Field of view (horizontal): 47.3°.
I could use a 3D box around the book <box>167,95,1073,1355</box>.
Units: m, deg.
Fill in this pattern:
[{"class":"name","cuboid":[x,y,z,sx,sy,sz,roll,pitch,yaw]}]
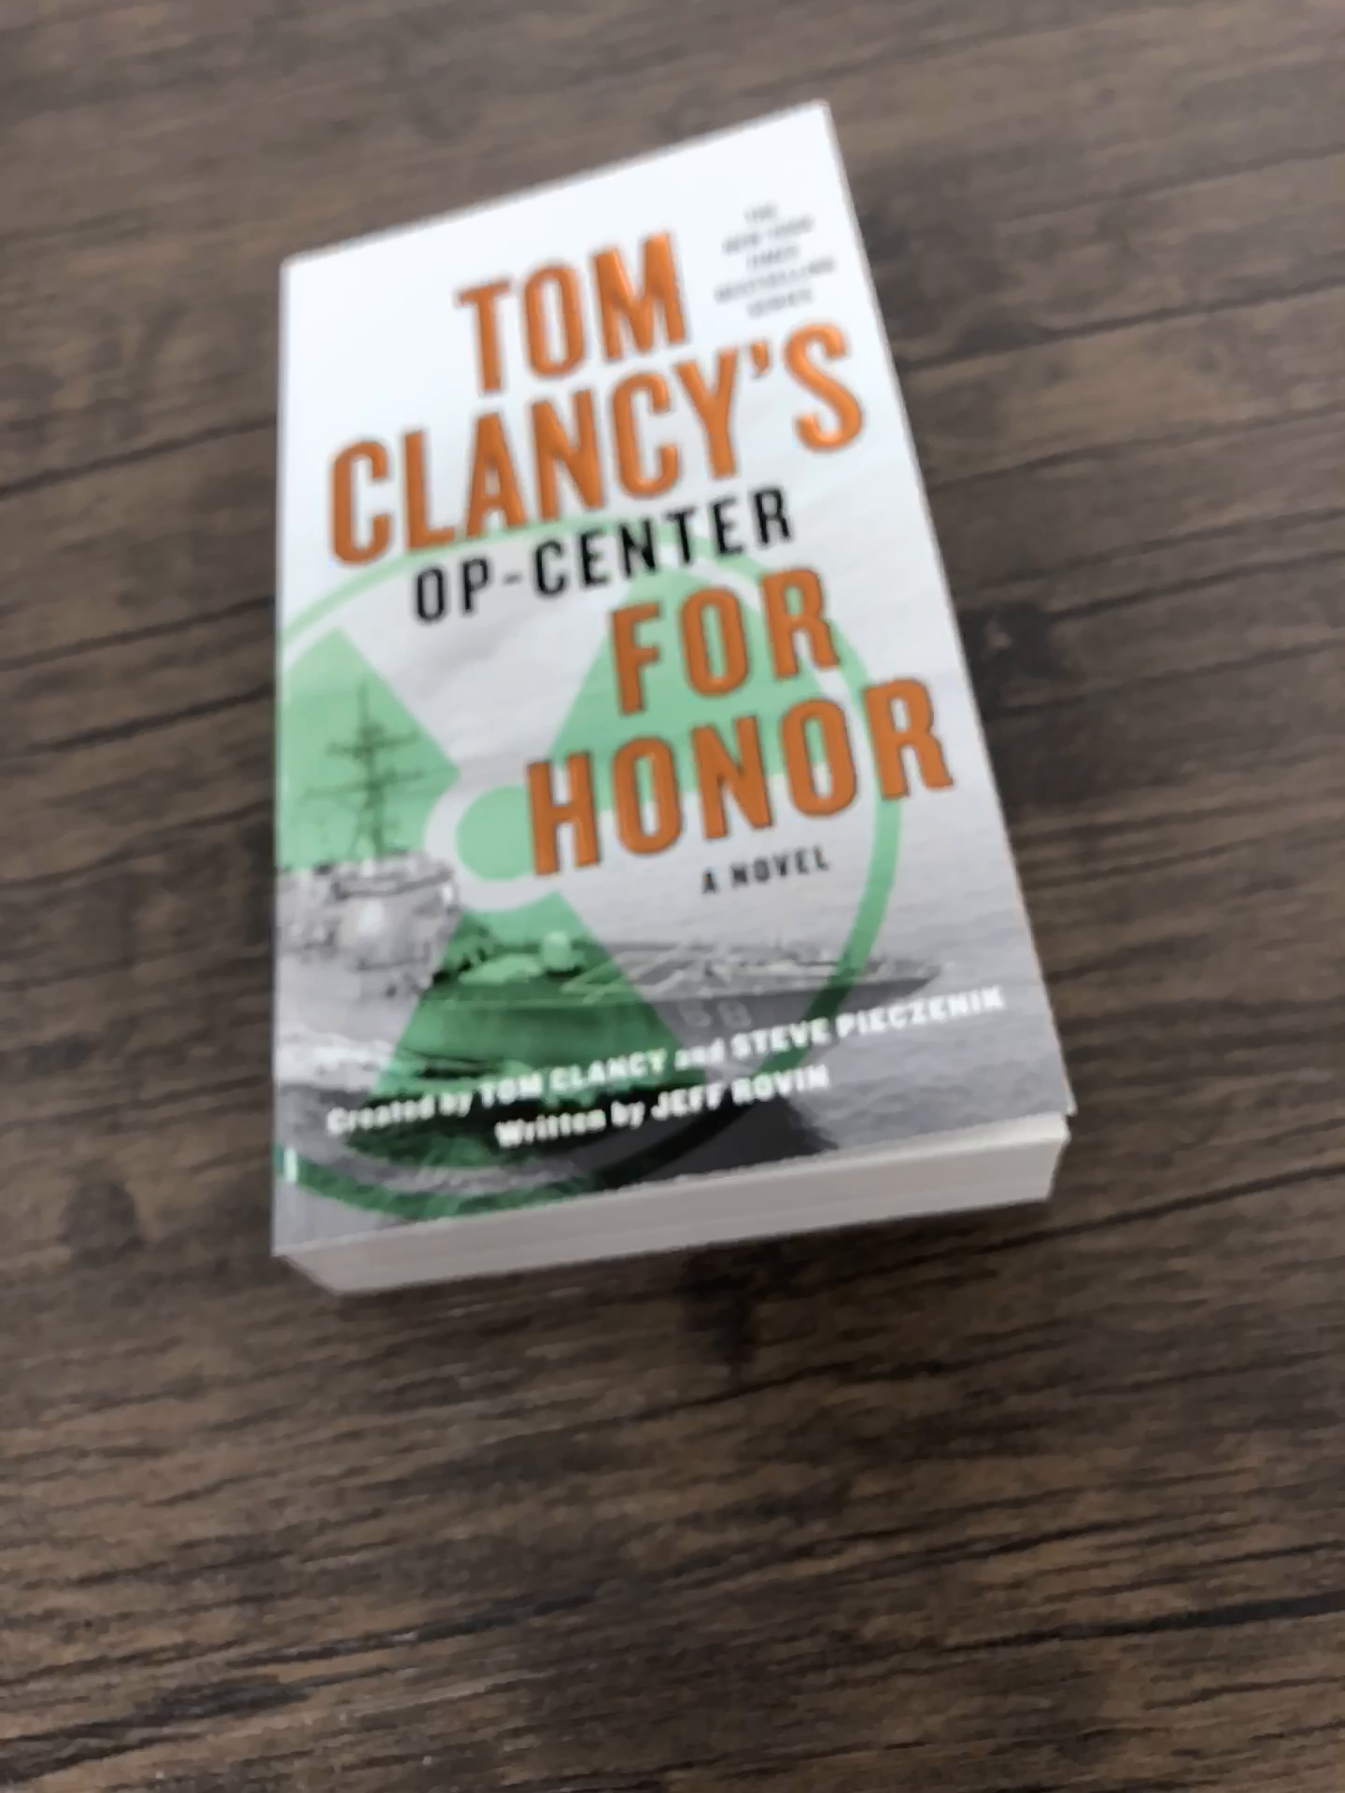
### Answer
[{"class":"book","cuboid":[-0.016,-0.035,0.247,0.113,0.040,0.190,-12,62,8]}]
